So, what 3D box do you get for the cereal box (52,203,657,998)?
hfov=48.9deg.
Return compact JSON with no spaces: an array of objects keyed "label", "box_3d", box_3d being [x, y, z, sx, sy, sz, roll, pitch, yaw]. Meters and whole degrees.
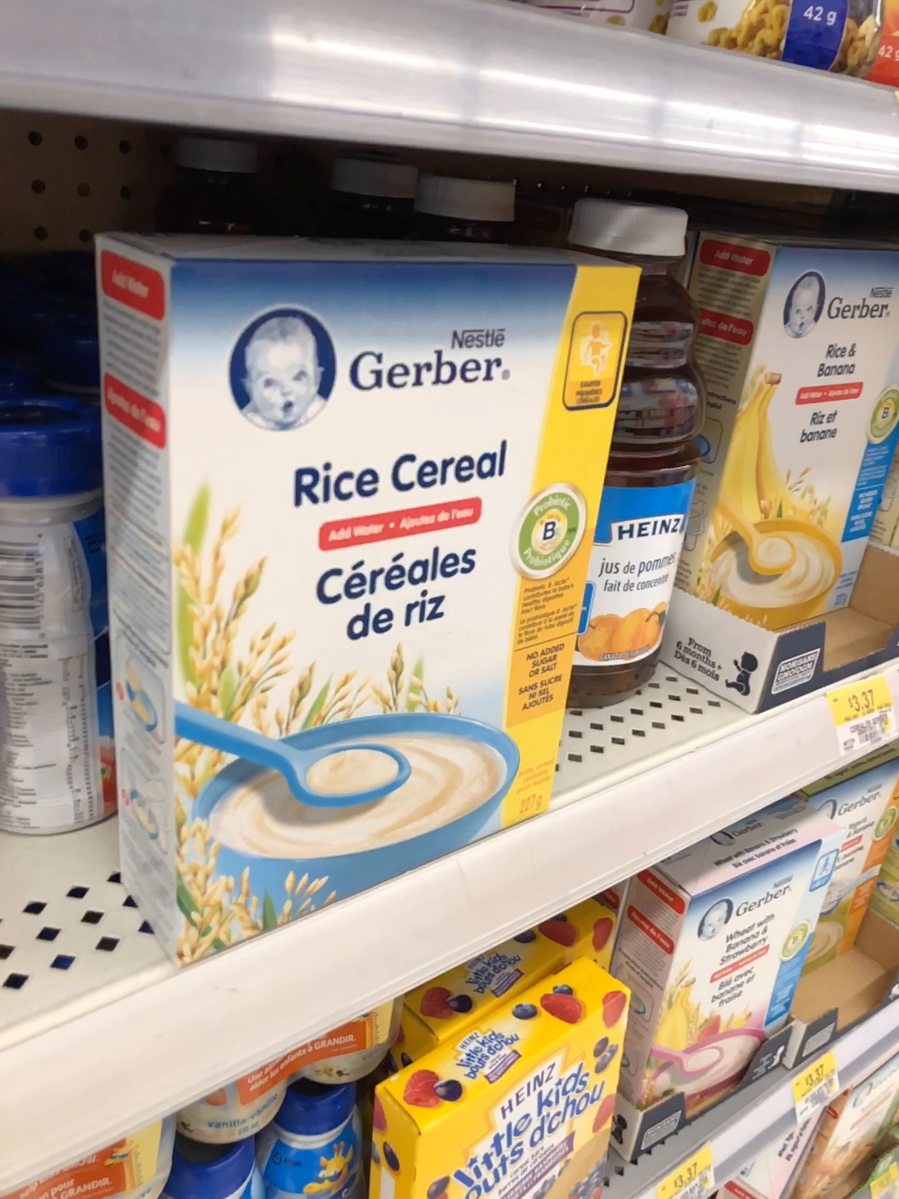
[{"label":"cereal box","box_3d":[-0.029,-0.005,0.299,0.150,0.199,0.060,-13,31,-37]}]
